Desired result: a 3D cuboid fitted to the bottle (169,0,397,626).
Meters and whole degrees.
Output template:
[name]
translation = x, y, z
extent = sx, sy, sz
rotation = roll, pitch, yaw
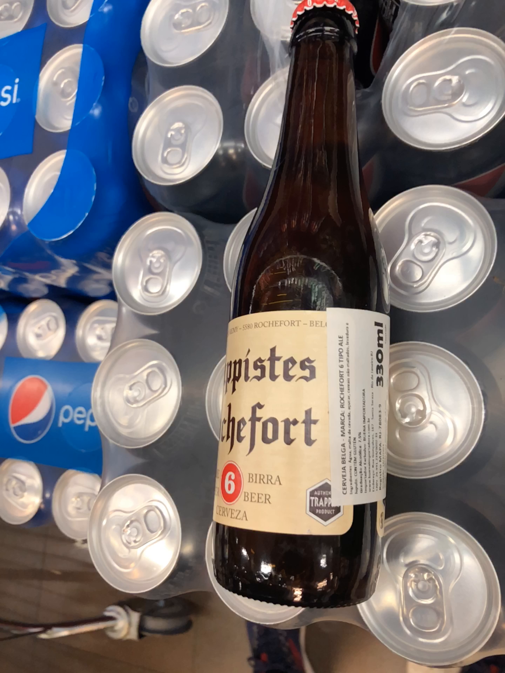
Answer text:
[bottle]
translation = 0.017, -0.033, 0.211
extent = 0.060, 0.050, 0.240
rotation = -1, 80, 25
